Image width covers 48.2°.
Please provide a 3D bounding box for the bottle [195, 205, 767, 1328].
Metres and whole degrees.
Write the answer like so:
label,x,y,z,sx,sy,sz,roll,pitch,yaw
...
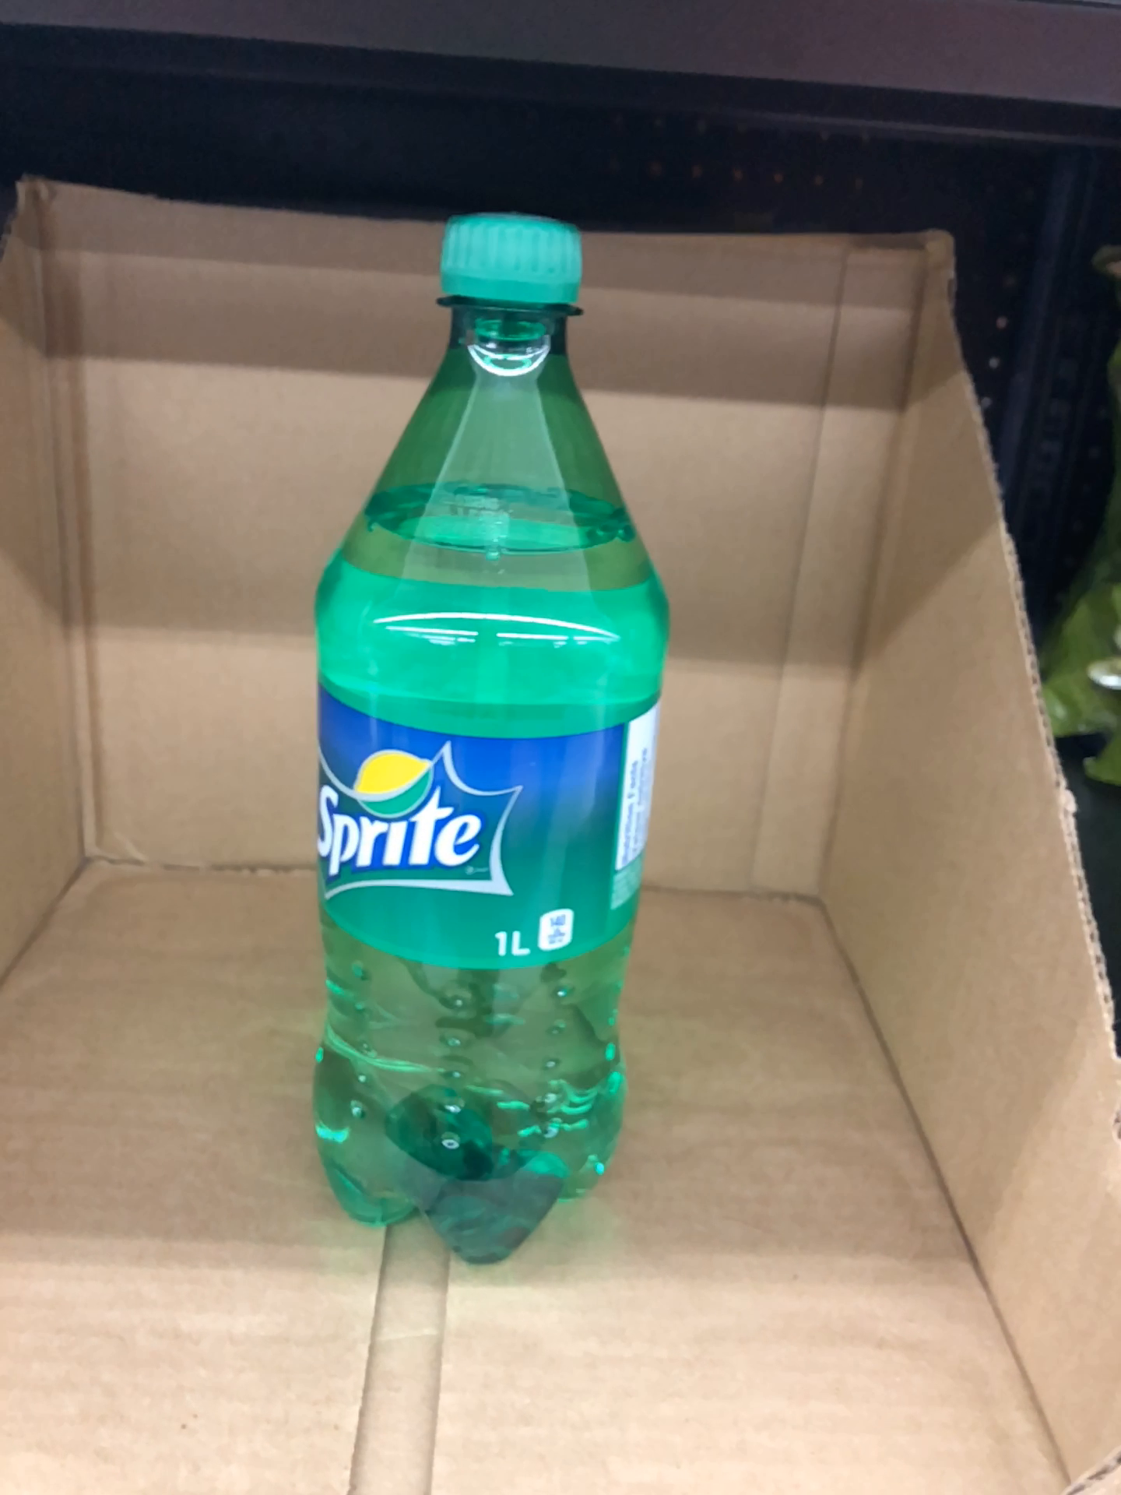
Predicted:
label,x,y,z,sx,sy,sz,roll,pitch,yaw
bottle,-0.020,0.003,0.313,0.090,0.248,0.091,4,23,-2
